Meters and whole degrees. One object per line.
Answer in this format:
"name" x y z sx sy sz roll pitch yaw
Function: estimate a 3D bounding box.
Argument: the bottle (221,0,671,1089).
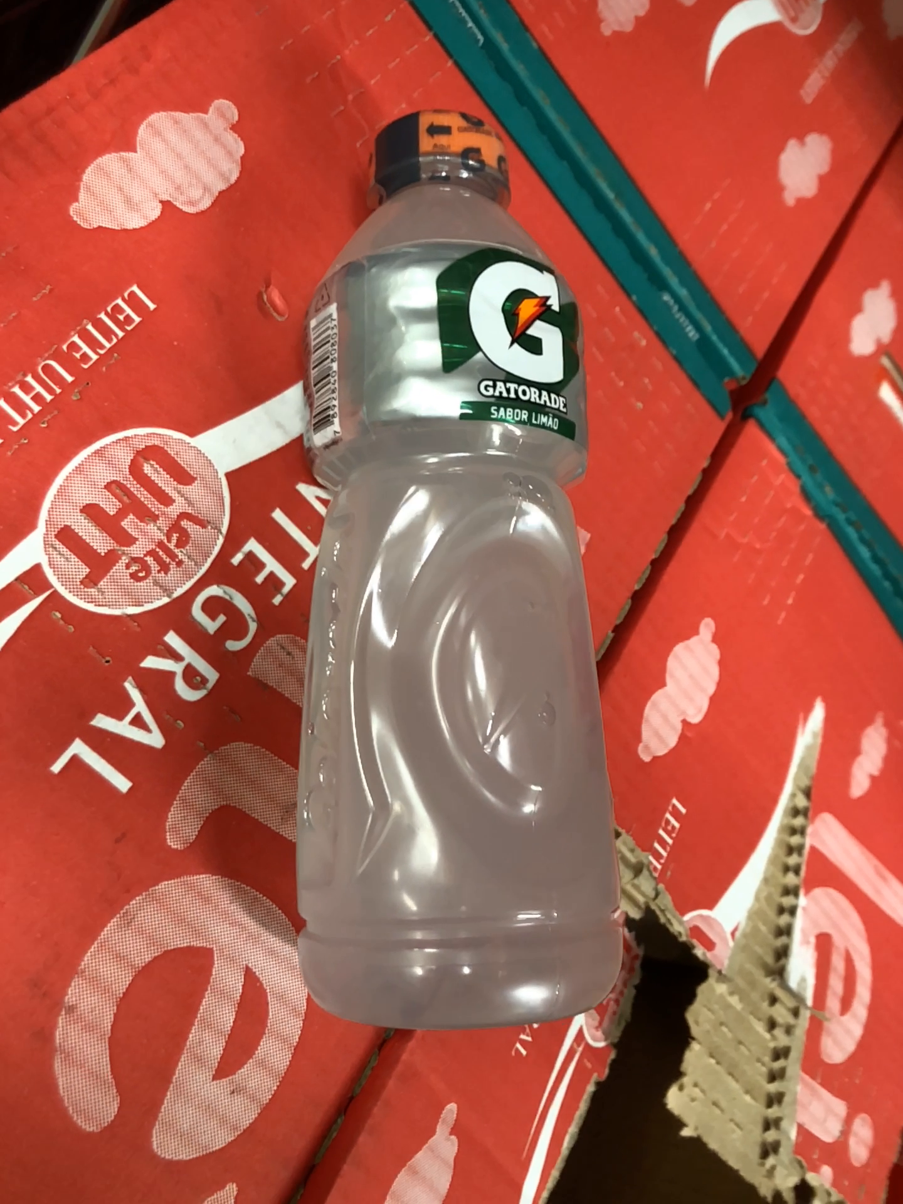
"bottle" -0.006 -0.016 0.227 0.070 0.060 0.210 6 75 -36

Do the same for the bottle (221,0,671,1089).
"bottle" -0.006 -0.016 0.227 0.070 0.060 0.210 6 75 -36
